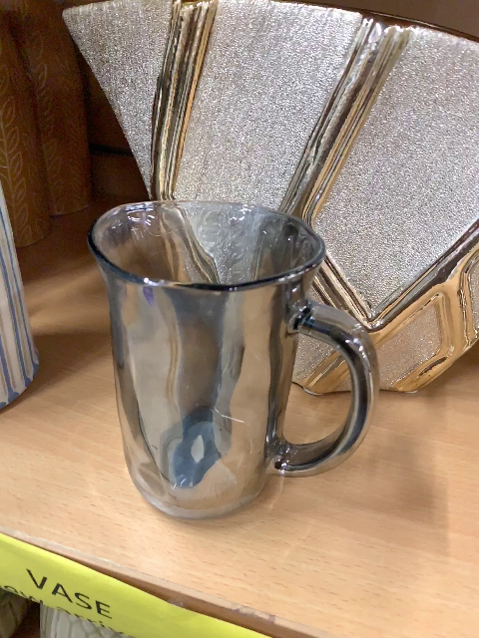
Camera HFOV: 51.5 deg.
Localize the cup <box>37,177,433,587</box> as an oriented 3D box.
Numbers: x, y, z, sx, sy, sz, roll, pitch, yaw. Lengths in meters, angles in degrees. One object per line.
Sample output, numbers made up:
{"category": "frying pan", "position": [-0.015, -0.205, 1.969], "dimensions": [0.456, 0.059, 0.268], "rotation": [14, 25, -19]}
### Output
{"category": "cup", "position": [0.001, 0.017, 0.188], "dimensions": [0.110, 0.110, 0.070], "rotation": [13, 32, 16]}
